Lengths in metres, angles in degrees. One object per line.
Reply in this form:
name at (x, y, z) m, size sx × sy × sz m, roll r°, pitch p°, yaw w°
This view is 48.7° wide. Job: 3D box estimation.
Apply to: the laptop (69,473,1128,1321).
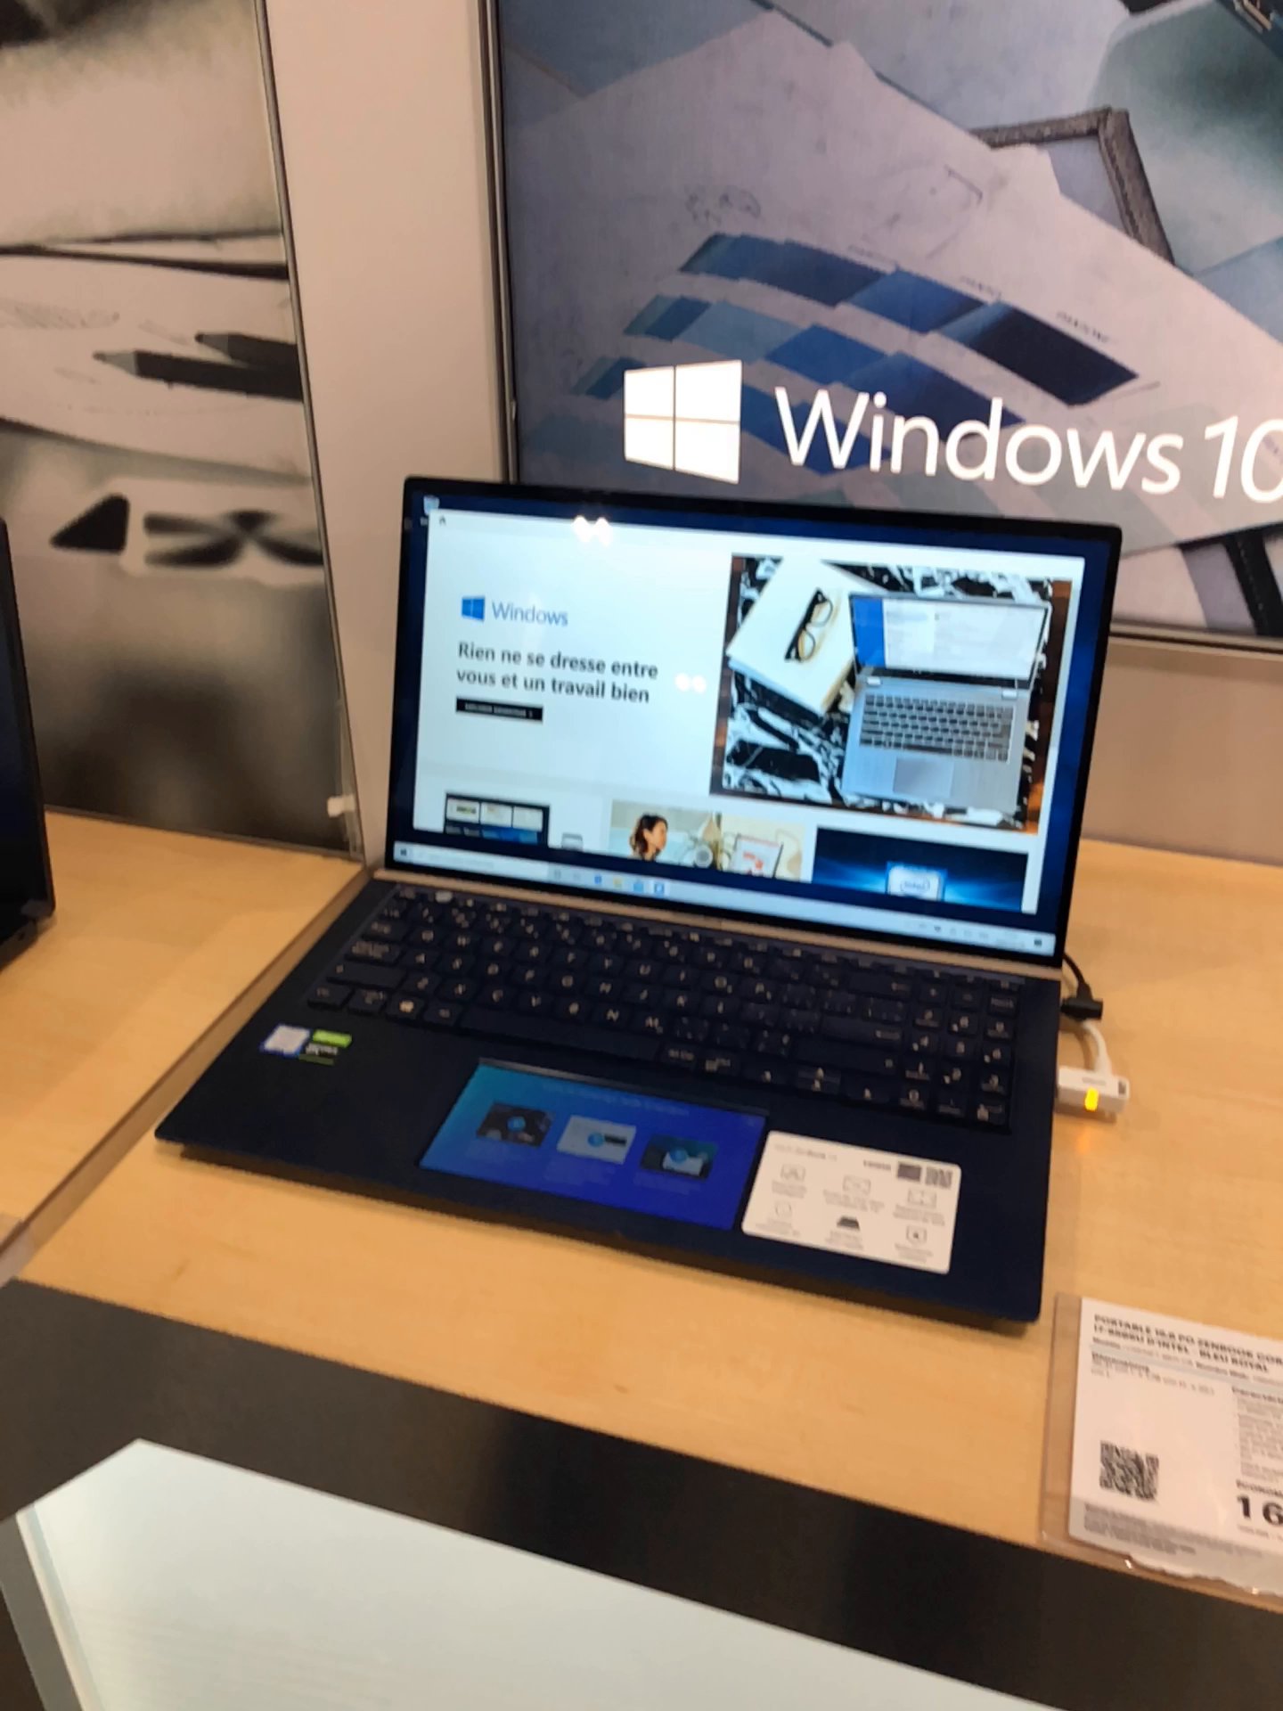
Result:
laptop at (0.009, -0.015, 0.588) m, size 0.338 × 0.183 × 0.274 m, roll 8°, pitch 32°, yaw 14°
